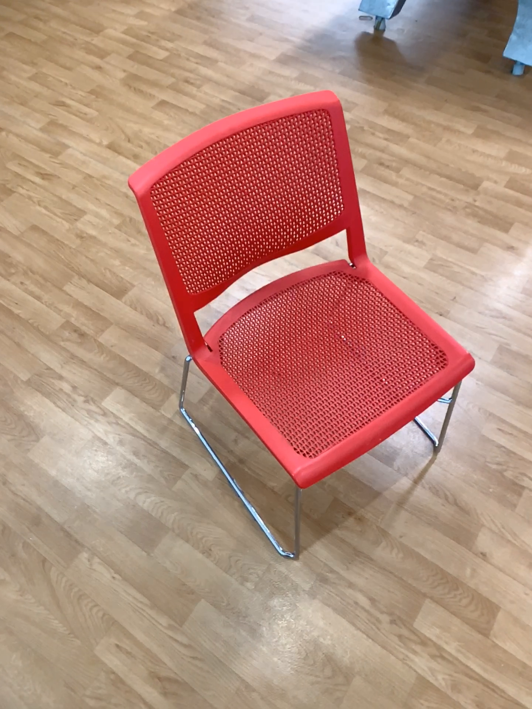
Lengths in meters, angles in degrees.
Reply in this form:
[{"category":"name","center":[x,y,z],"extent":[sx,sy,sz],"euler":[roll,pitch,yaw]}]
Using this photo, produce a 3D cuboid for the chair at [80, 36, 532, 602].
[{"category":"chair","center":[0.149,-0.036,1.053],"extent":[0.601,0.706,0.592],"euler":[-32,61,-19]}]
